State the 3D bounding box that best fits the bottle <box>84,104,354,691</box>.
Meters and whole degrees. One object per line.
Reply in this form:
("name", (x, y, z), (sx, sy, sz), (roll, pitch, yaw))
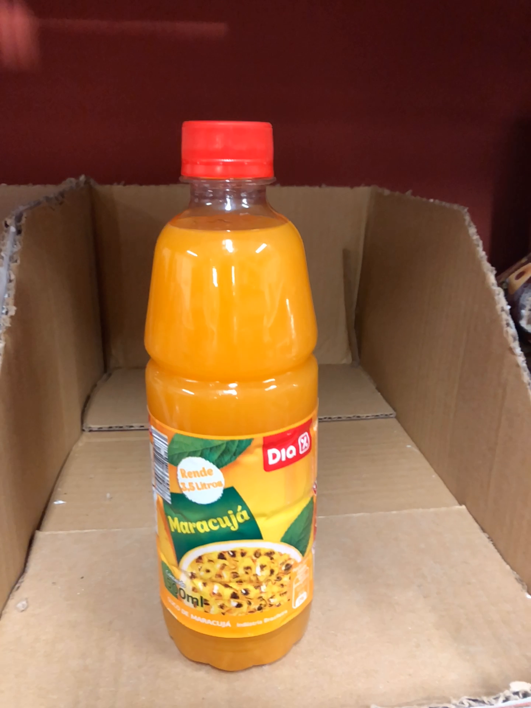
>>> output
("bottle", (-0.010, 0.017, 0.219), (0.070, 0.199, 0.070), (0, 20, 0))
